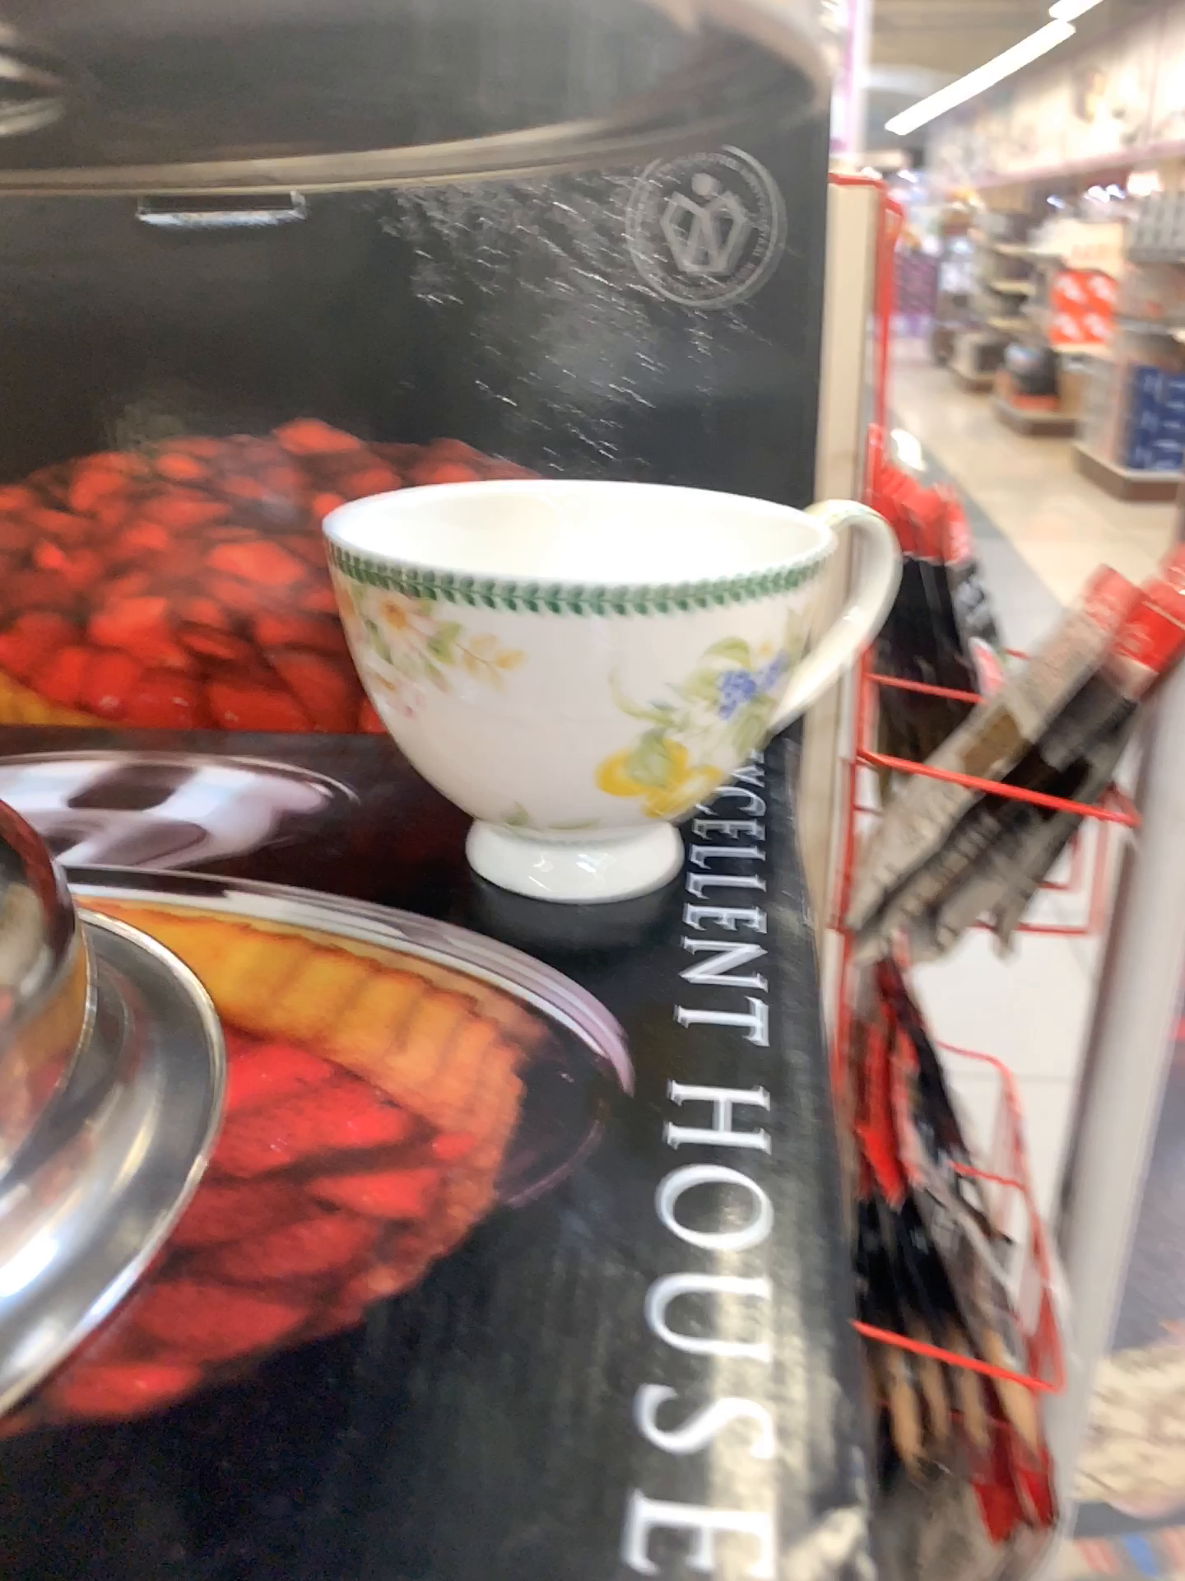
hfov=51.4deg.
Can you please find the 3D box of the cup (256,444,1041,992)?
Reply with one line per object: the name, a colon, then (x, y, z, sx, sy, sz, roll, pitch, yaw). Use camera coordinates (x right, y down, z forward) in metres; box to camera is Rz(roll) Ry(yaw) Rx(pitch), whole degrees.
cup: (0.008, -0.028, 0.270, 0.130, 0.070, 0.100, -13, 27, -26)
